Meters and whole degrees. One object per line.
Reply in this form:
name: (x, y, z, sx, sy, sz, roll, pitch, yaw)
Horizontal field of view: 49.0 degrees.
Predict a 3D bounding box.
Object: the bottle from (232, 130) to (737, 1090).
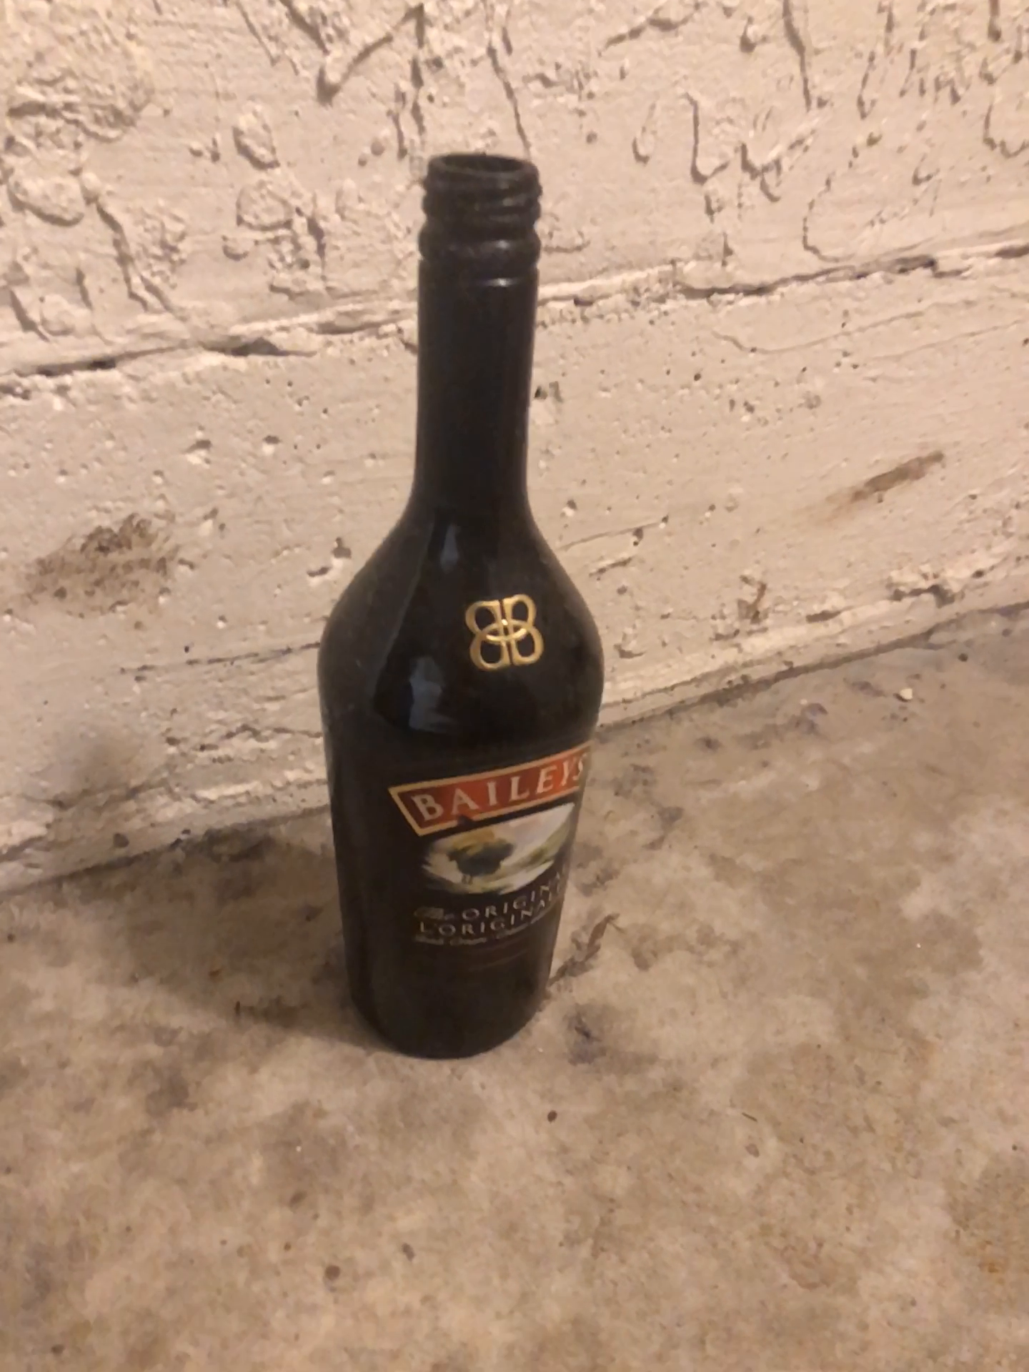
bottle: (-0.012, -0.010, 0.328, 0.090, 0.258, 0.081, -13, 37, -20)
